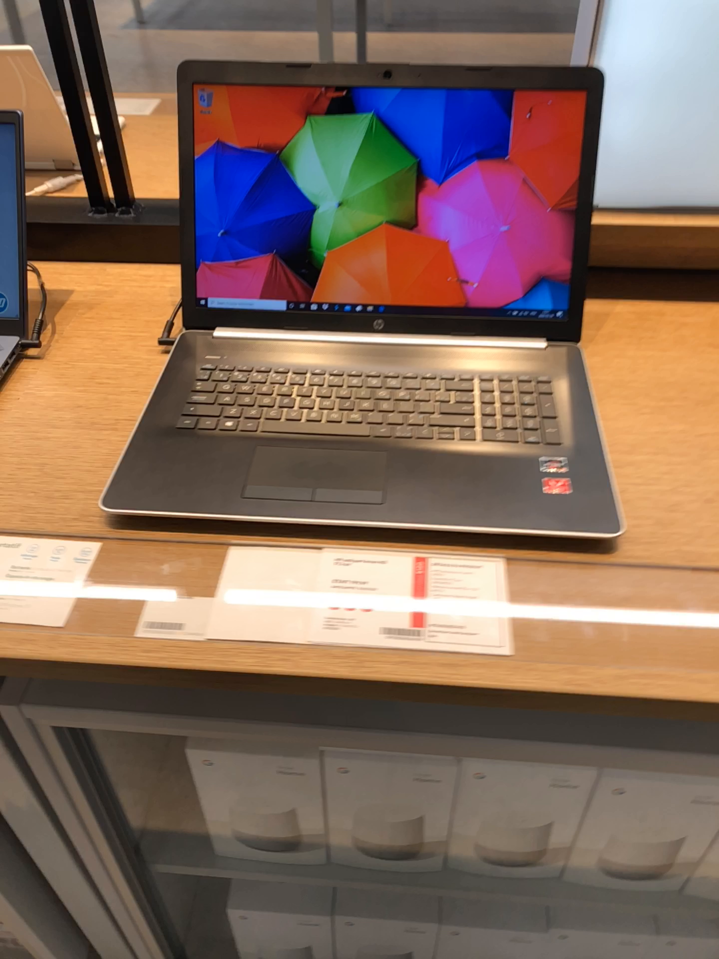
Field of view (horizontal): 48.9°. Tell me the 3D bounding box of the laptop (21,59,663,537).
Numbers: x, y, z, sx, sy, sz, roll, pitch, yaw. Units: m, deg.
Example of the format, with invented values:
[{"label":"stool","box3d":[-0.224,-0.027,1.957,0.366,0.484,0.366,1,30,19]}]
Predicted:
[{"label":"laptop","box3d":[0.002,-0.186,0.702,0.399,0.217,0.399,3,44,4]}]
